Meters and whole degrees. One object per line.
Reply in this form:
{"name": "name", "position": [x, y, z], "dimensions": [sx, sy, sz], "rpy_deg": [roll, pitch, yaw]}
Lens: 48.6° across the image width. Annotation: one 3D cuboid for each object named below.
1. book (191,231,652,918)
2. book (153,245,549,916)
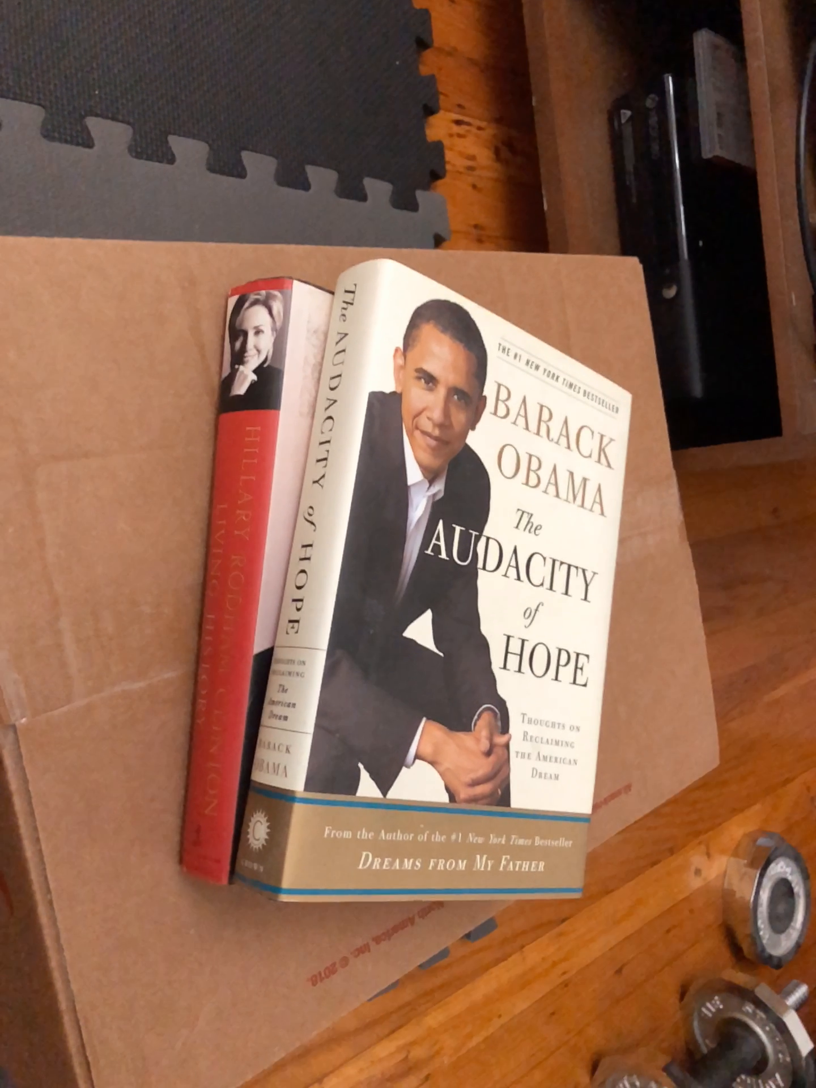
{"name": "book", "position": [0.024, 0.025, 0.396], "dimensions": [0.191, 0.040, 0.250], "rpy_deg": [18, 75, -39]}
{"name": "book", "position": [-0.013, 0.019, 0.405], "dimensions": [0.171, 0.040, 0.250], "rpy_deg": [10, 80, -40]}
